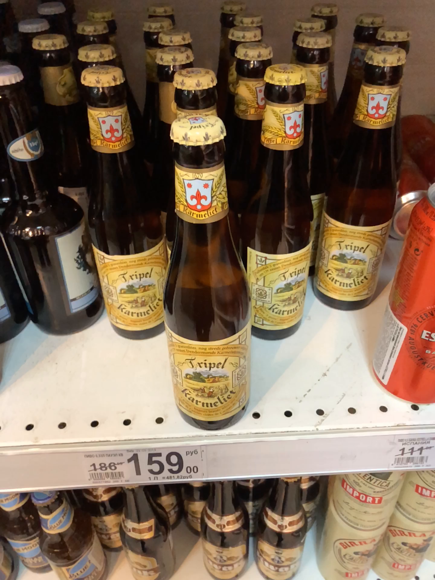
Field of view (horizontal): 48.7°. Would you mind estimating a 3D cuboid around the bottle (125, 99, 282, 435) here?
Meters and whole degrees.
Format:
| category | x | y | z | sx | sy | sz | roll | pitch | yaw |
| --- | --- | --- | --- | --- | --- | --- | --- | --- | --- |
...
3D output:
| category | x | y | z | sx | sy | sz | roll | pitch | yaw |
| --- | --- | --- | --- | --- | --- | --- | --- | --- | --- |
| bottle | -0.004 | 0.001 | 0.312 | 0.070 | 0.219 | 0.070 | -1 | 40 | 1 |
